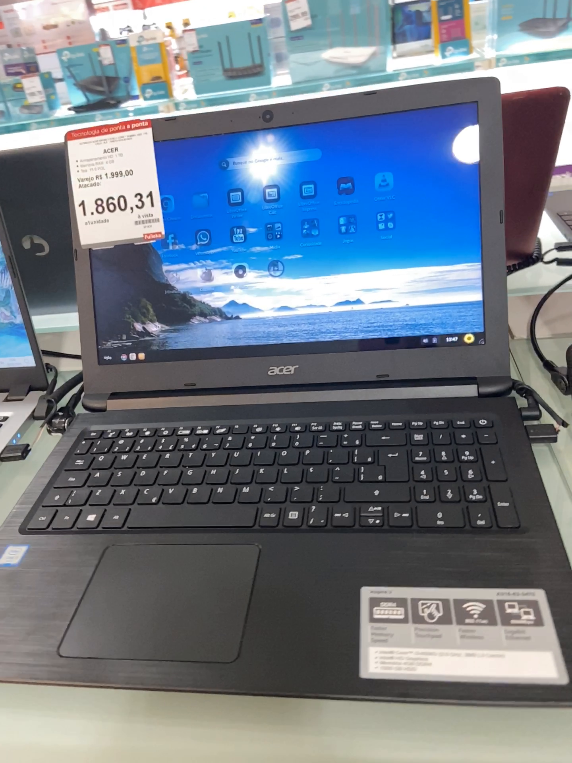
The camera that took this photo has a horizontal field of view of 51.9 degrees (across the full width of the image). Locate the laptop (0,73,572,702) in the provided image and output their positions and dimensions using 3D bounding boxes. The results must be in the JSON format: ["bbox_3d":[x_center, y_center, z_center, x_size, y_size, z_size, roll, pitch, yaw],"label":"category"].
[{"bbox_3d":[-0.025,-0.039,0.405,0.379,0.215,0.381,-3,33,11],"label":"laptop"}]
